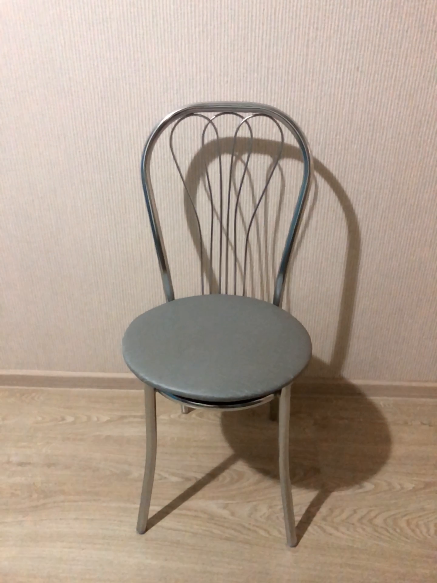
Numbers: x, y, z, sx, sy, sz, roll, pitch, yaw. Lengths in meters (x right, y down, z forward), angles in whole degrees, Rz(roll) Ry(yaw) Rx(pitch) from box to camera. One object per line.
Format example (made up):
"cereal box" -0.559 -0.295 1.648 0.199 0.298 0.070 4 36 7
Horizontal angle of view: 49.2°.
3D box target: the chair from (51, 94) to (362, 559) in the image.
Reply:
"chair" 0.004 0.057 1.008 0.400 0.825 0.473 3 28 6
